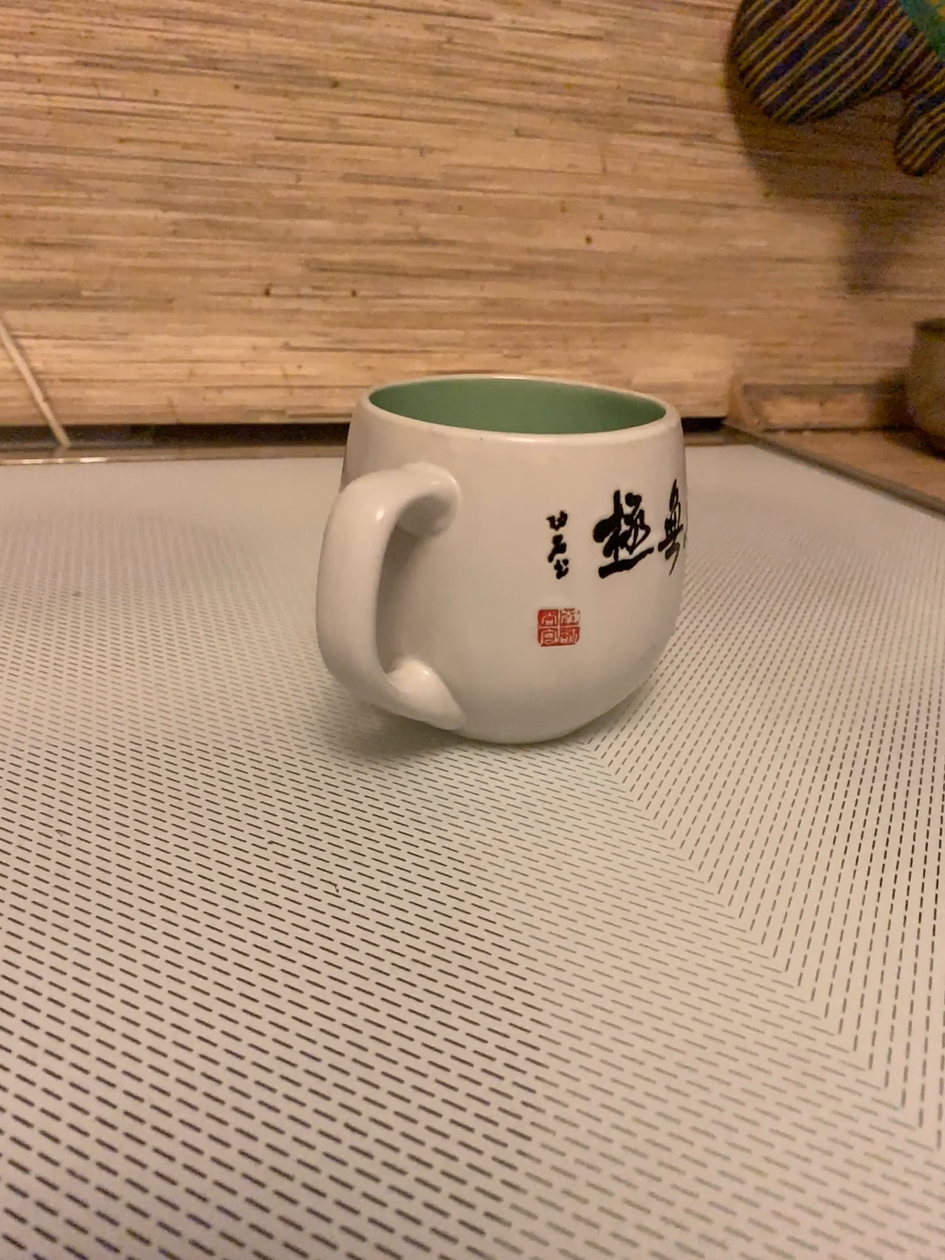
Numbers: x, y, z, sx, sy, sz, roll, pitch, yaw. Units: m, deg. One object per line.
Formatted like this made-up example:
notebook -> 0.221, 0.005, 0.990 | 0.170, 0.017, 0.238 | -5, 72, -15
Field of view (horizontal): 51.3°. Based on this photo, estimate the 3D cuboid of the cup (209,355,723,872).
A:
cup -> 0.006, -0.018, 0.268 | 0.088, 0.091, 0.124 | 12, 24, 21
